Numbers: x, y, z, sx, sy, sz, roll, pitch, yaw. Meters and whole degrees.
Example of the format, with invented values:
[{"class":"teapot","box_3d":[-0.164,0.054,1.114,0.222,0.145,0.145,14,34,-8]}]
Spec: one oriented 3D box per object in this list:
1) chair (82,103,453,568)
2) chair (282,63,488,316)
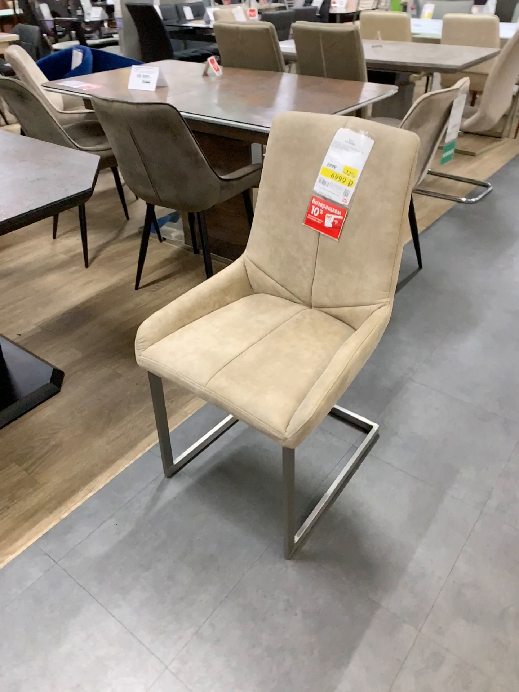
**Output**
[{"class":"chair","box_3d":[0.049,-0.054,1.335,0.510,0.887,0.585,22,42,30]},{"class":"chair","box_3d":[0.490,-0.691,2.277,0.624,0.842,0.482,24,42,31]}]
